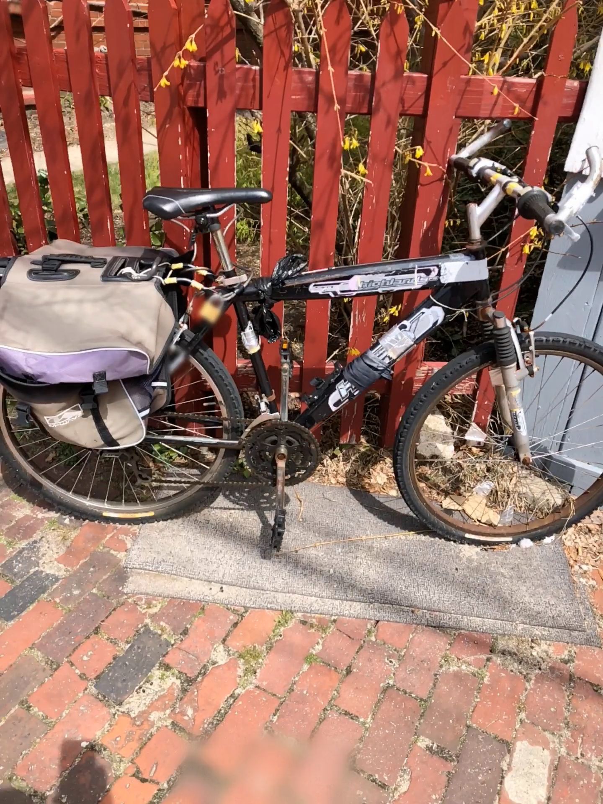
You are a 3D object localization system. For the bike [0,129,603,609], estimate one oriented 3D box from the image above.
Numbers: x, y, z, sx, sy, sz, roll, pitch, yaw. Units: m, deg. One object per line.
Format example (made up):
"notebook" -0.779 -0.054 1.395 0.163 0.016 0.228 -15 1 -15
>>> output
"bike" 0.053 -0.090 1.675 1.724 1.000 0.676 1 30 -2
